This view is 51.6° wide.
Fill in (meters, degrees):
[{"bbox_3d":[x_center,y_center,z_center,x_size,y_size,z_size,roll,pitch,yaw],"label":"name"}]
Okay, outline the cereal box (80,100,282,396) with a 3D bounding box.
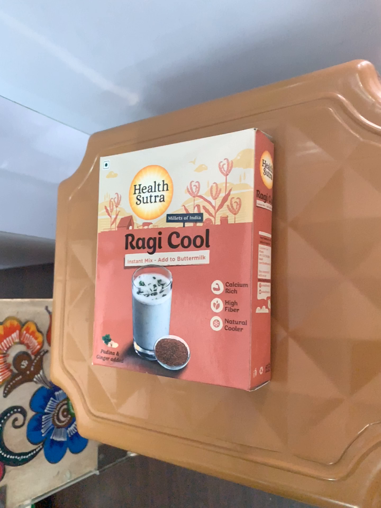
[{"bbox_3d":[-0.010,-0.002,0.280,0.141,0.040,0.170,-2,84,33],"label":"cereal box"}]
